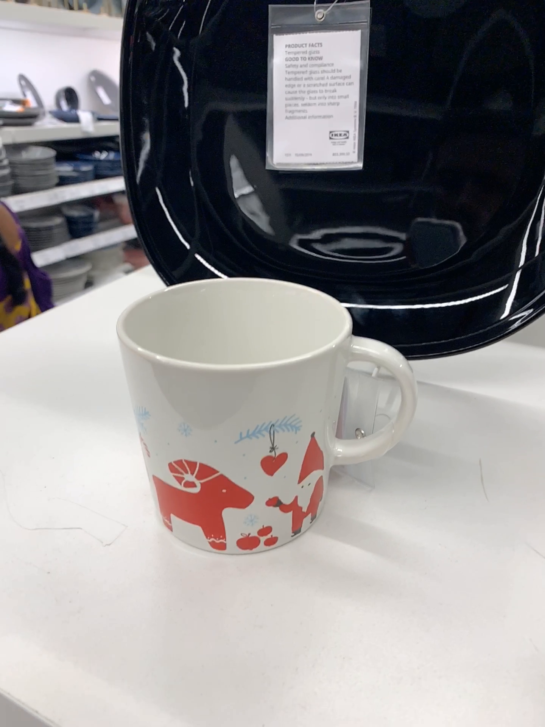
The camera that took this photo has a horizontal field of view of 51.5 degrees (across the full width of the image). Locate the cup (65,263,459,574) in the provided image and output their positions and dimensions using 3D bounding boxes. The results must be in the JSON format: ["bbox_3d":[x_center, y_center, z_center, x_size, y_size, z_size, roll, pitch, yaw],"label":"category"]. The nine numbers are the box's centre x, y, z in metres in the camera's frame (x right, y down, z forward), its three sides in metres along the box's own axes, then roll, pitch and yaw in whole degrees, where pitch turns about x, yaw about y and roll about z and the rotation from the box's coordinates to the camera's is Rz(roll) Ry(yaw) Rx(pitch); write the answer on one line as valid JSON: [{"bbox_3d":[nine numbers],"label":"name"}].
[{"bbox_3d":[-0.003,0.016,0.232,0.120,0.090,0.090,1,26,1],"label":"cup"}]
